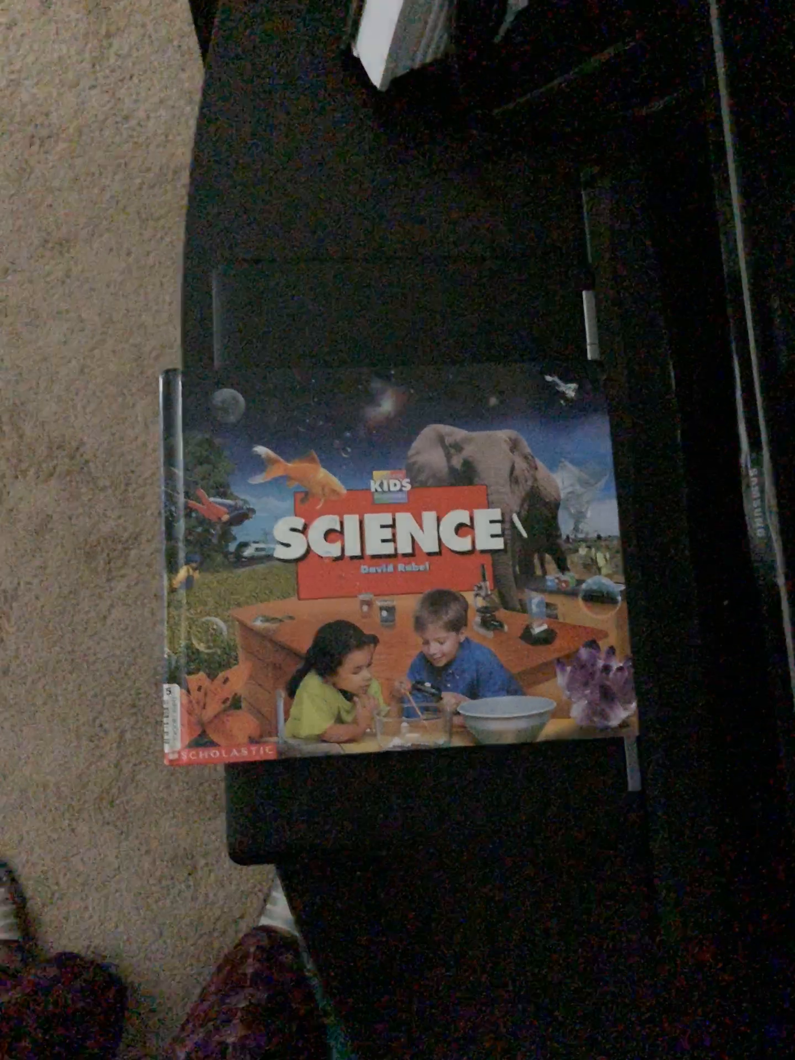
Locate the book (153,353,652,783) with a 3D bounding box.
[{"bbox_3d":[0.000,0.017,0.492,0.280,0.030,0.240,-2,82,-4],"label":"book"}]
